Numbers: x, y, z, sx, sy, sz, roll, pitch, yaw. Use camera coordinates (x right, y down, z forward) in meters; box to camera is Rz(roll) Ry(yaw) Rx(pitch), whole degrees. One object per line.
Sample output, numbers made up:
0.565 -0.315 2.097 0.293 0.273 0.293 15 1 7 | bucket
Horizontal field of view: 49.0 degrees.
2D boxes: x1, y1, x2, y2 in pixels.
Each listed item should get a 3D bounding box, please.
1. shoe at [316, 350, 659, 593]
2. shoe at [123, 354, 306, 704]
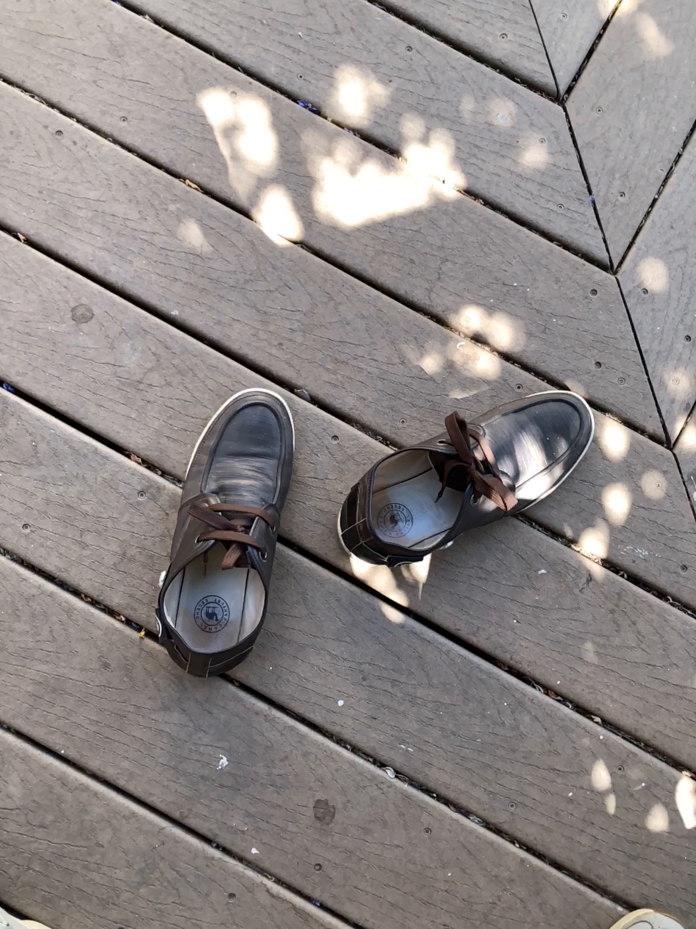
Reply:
0.129 0.010 0.769 0.303 0.121 0.108 -25 85 -6 | shoe
-0.121 0.062 0.749 0.108 0.121 0.301 10 83 -2 | shoe
